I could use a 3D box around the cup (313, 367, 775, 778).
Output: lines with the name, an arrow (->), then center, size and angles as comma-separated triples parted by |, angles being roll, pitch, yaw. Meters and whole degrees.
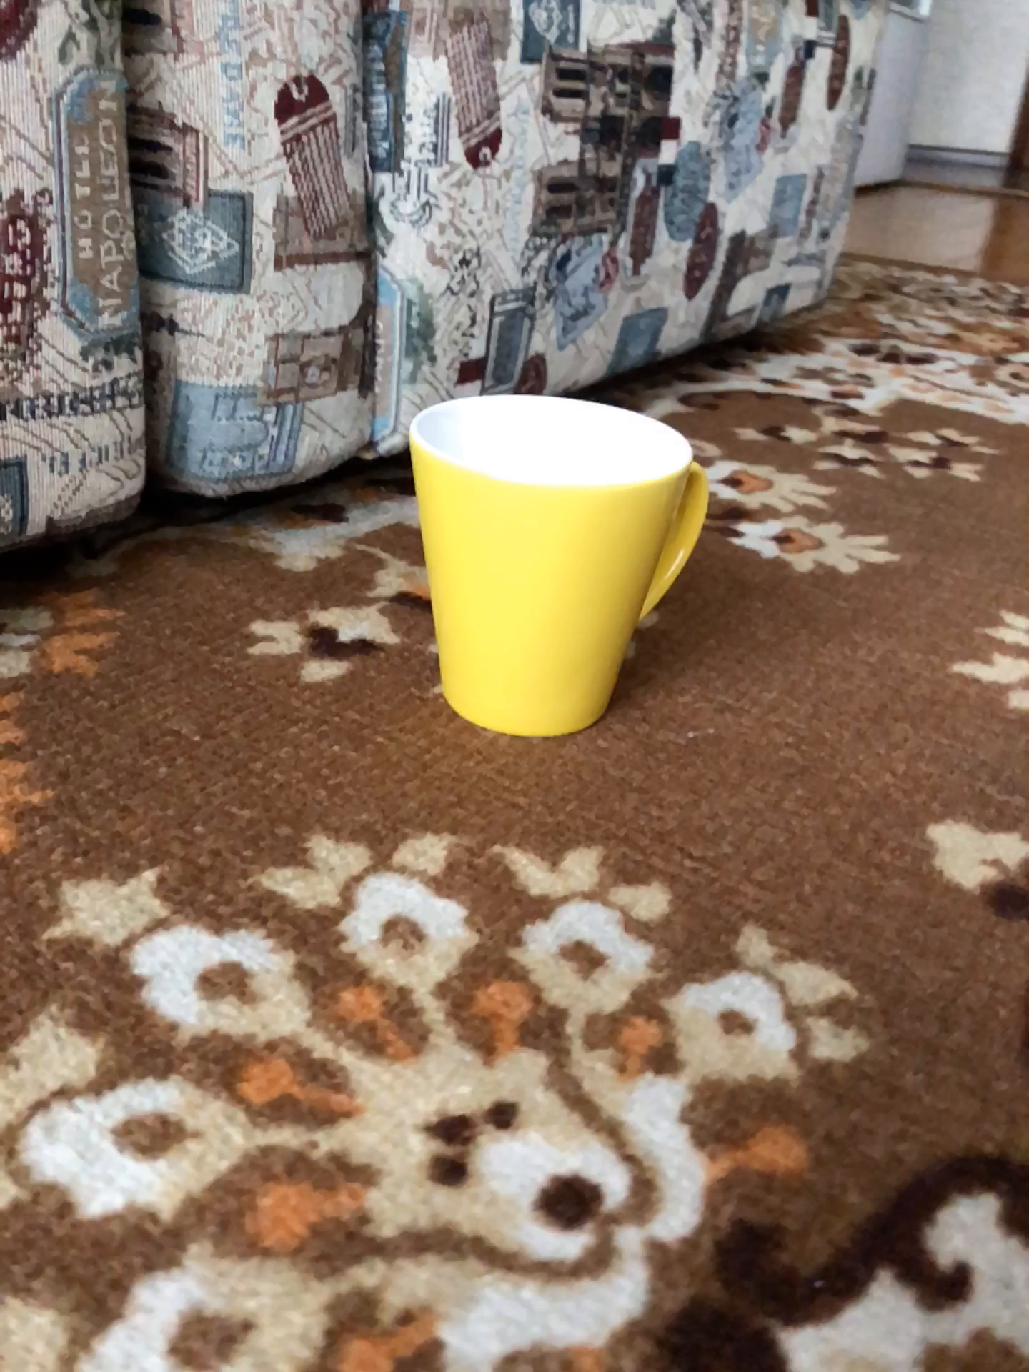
cup -> 0.011, -0.048, 0.391 | 0.097, 0.088, 0.125 | 23, 33, 31
